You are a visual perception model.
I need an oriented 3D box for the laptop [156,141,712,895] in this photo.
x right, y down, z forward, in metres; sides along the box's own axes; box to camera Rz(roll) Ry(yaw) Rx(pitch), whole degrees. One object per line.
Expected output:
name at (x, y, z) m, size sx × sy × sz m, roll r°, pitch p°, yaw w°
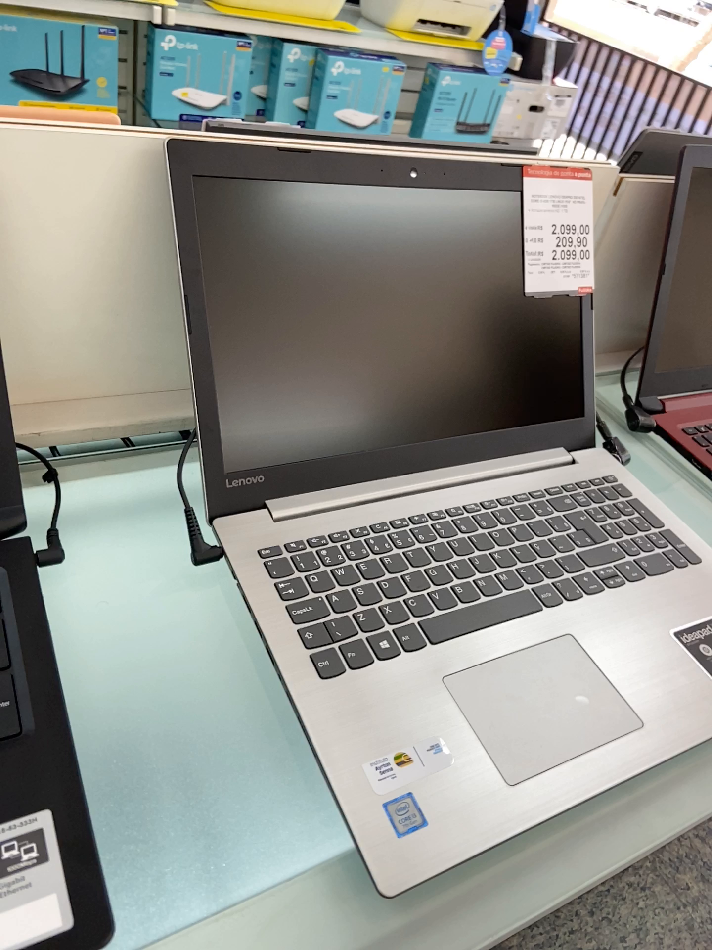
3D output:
laptop at (0.108, -0.037, 0.481) m, size 0.371 × 0.194 × 0.390 m, roll -9°, pitch 44°, yaw -28°
